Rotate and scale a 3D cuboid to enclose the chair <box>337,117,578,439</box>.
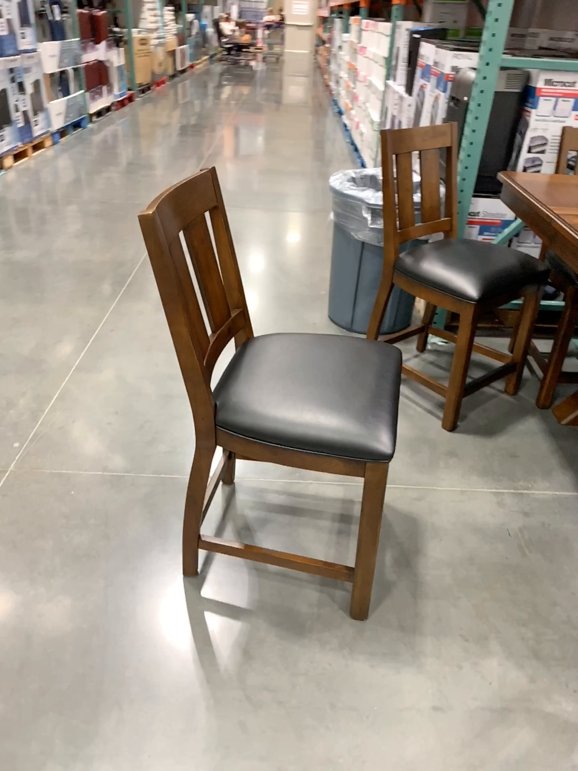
[{"bbox_3d":[0.639,-0.440,2.320,0.545,1.022,0.589,-20,39,-34],"label":"chair"}]

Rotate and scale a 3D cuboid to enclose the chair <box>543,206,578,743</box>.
[{"bbox_3d":[1.109,0.183,1.352,0.654,0.952,0.600,9,32,7],"label":"chair"}]

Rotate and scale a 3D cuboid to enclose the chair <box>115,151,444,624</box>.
[{"bbox_3d":[-0.015,0.011,1.526,0.587,1.022,0.527,8,32,6],"label":"chair"}]
